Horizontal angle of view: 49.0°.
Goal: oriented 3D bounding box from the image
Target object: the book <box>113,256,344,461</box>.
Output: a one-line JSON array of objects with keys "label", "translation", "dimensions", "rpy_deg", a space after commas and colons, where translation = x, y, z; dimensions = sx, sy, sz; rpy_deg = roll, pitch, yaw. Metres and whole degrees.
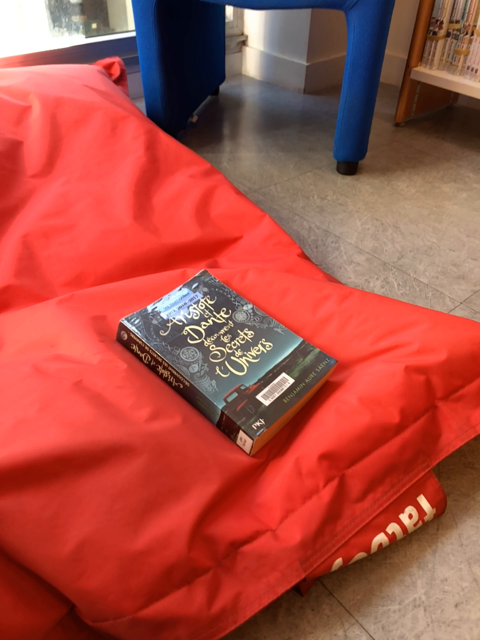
[{"label": "book", "translation": [-0.017, 0.032, 0.624], "dimensions": [0.229, 0.048, 0.149], "rpy_deg": [37, 57, 27]}]
